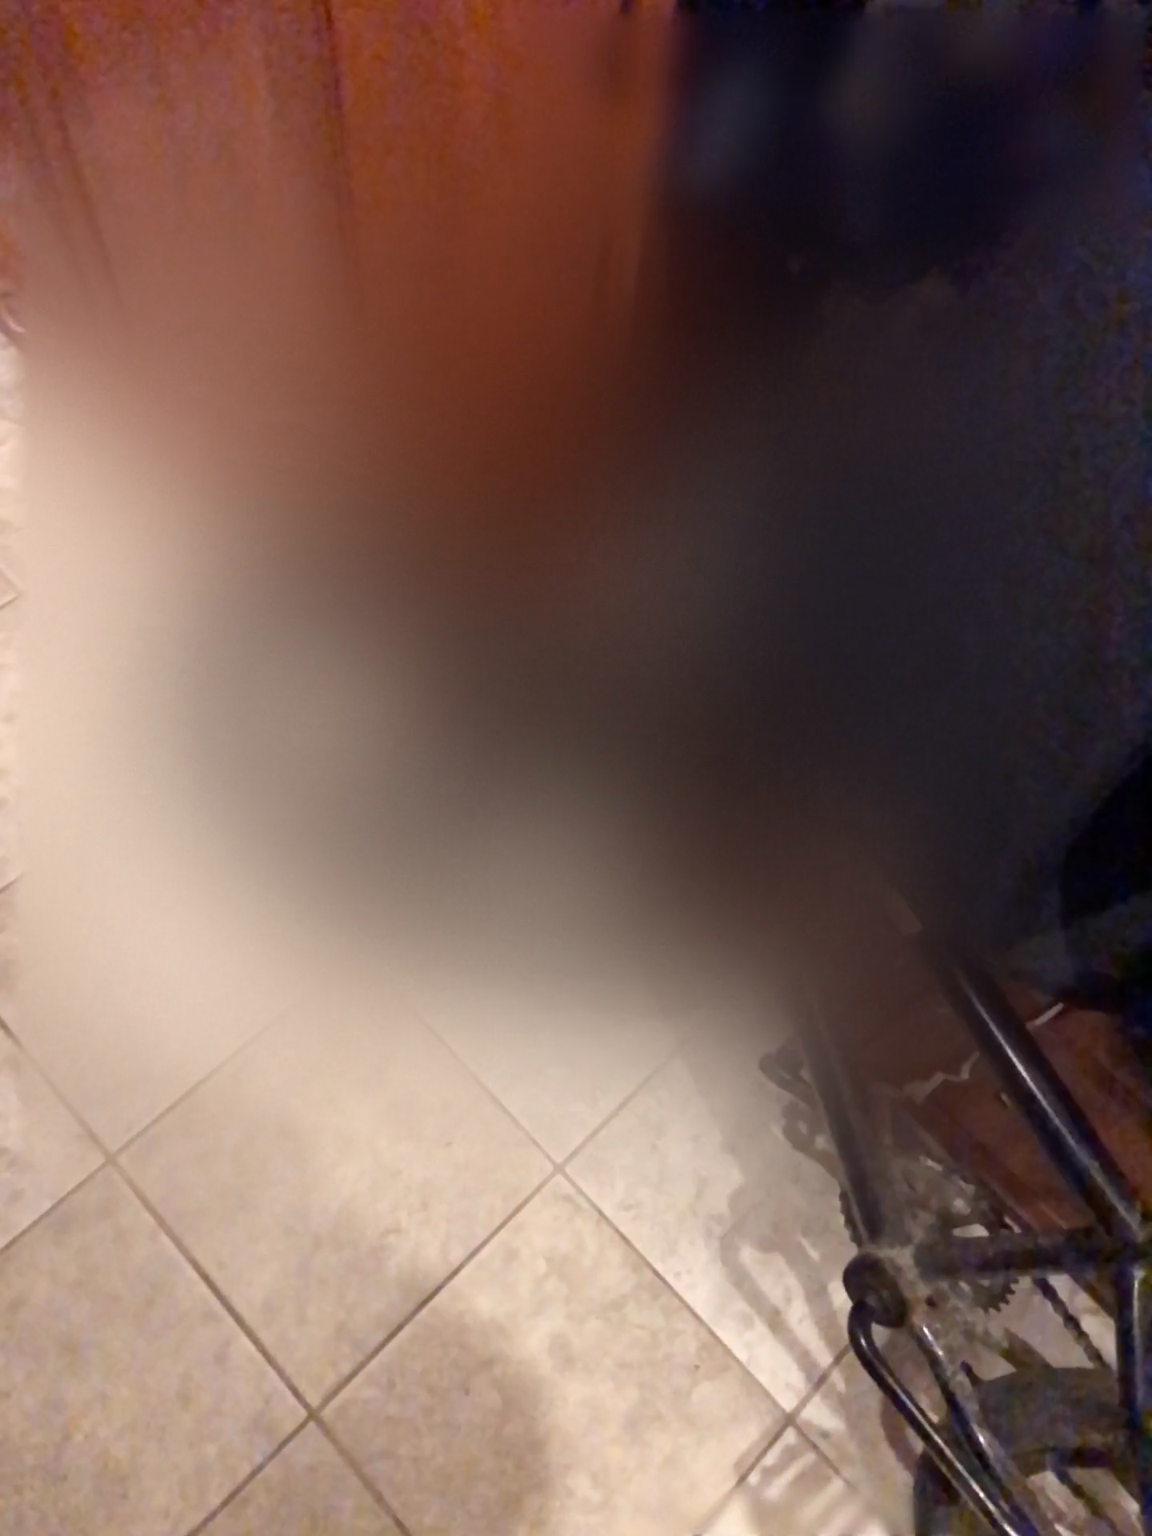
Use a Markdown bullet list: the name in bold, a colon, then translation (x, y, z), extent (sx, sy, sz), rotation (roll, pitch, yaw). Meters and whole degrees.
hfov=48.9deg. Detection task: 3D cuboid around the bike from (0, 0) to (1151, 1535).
- **bike**: translation (0.210, 0.210, 0.779), extent (0.527, 0.855, 1.355), rotation (-37, 74, -21)
